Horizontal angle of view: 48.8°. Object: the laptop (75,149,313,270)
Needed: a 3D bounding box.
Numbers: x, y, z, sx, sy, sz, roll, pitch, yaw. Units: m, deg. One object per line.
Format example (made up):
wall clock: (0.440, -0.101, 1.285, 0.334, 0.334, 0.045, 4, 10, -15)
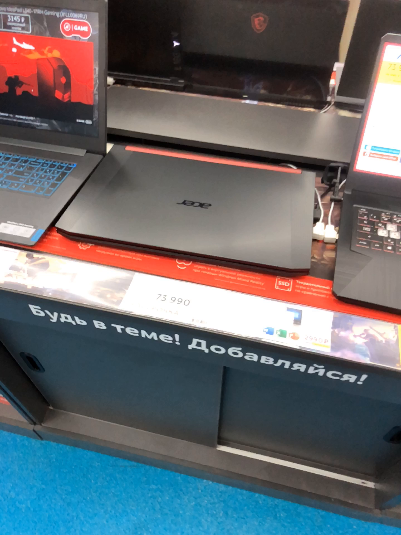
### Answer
laptop: (0.008, -0.115, 0.764, 0.370, 0.002, 0.256, 10, 44, 6)
